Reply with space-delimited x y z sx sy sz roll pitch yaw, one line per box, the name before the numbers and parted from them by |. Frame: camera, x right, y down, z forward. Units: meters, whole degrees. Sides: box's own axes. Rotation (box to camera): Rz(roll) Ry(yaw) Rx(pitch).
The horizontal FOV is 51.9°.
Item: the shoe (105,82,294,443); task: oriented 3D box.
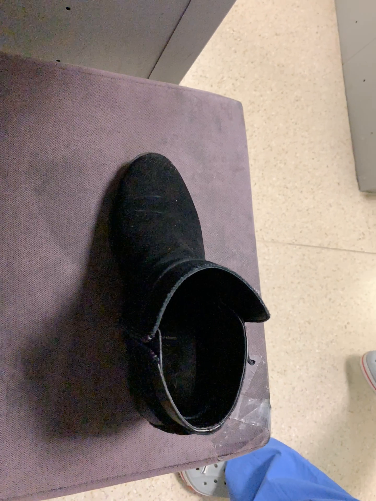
shoe | -0.006 0.012 0.330 0.100 0.137 0.235 3 77 -24
